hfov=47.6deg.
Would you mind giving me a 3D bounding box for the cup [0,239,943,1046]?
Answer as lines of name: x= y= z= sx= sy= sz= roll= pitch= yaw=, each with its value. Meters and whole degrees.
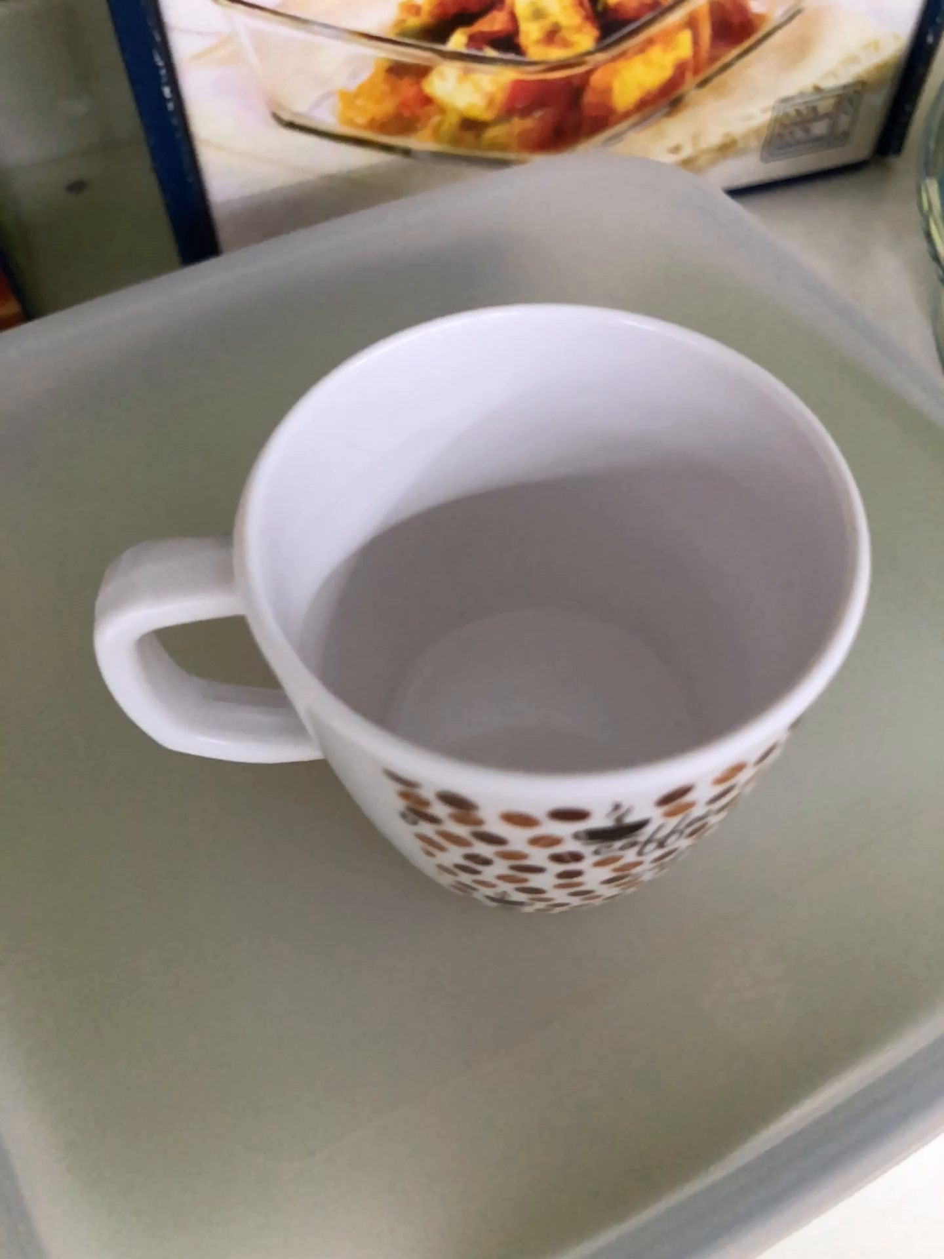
cup: x=0.003 y=0.002 z=0.111 sx=0.080 sy=0.050 sz=0.060 roll=-5 pitch=56 yaw=-3
